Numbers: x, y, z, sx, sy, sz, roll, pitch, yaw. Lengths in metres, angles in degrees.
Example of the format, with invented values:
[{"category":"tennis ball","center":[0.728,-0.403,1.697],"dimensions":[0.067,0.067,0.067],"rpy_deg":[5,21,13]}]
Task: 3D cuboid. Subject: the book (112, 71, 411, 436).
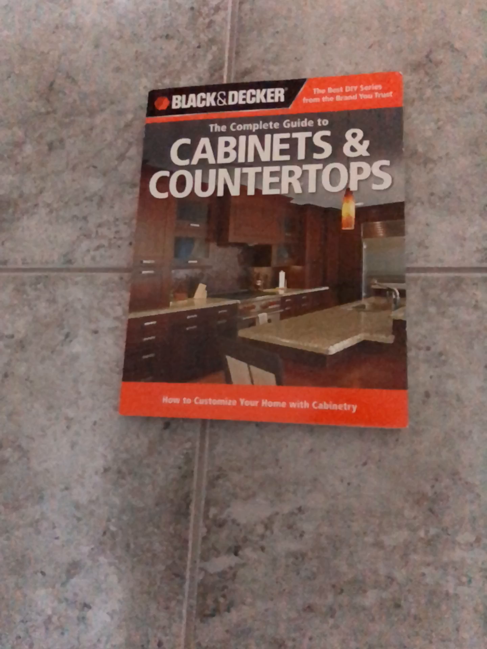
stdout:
[{"category":"book","center":[0.017,-0.061,0.423],"dimensions":[0.215,0.022,0.281],"rpy_deg":[1,78,11]}]
